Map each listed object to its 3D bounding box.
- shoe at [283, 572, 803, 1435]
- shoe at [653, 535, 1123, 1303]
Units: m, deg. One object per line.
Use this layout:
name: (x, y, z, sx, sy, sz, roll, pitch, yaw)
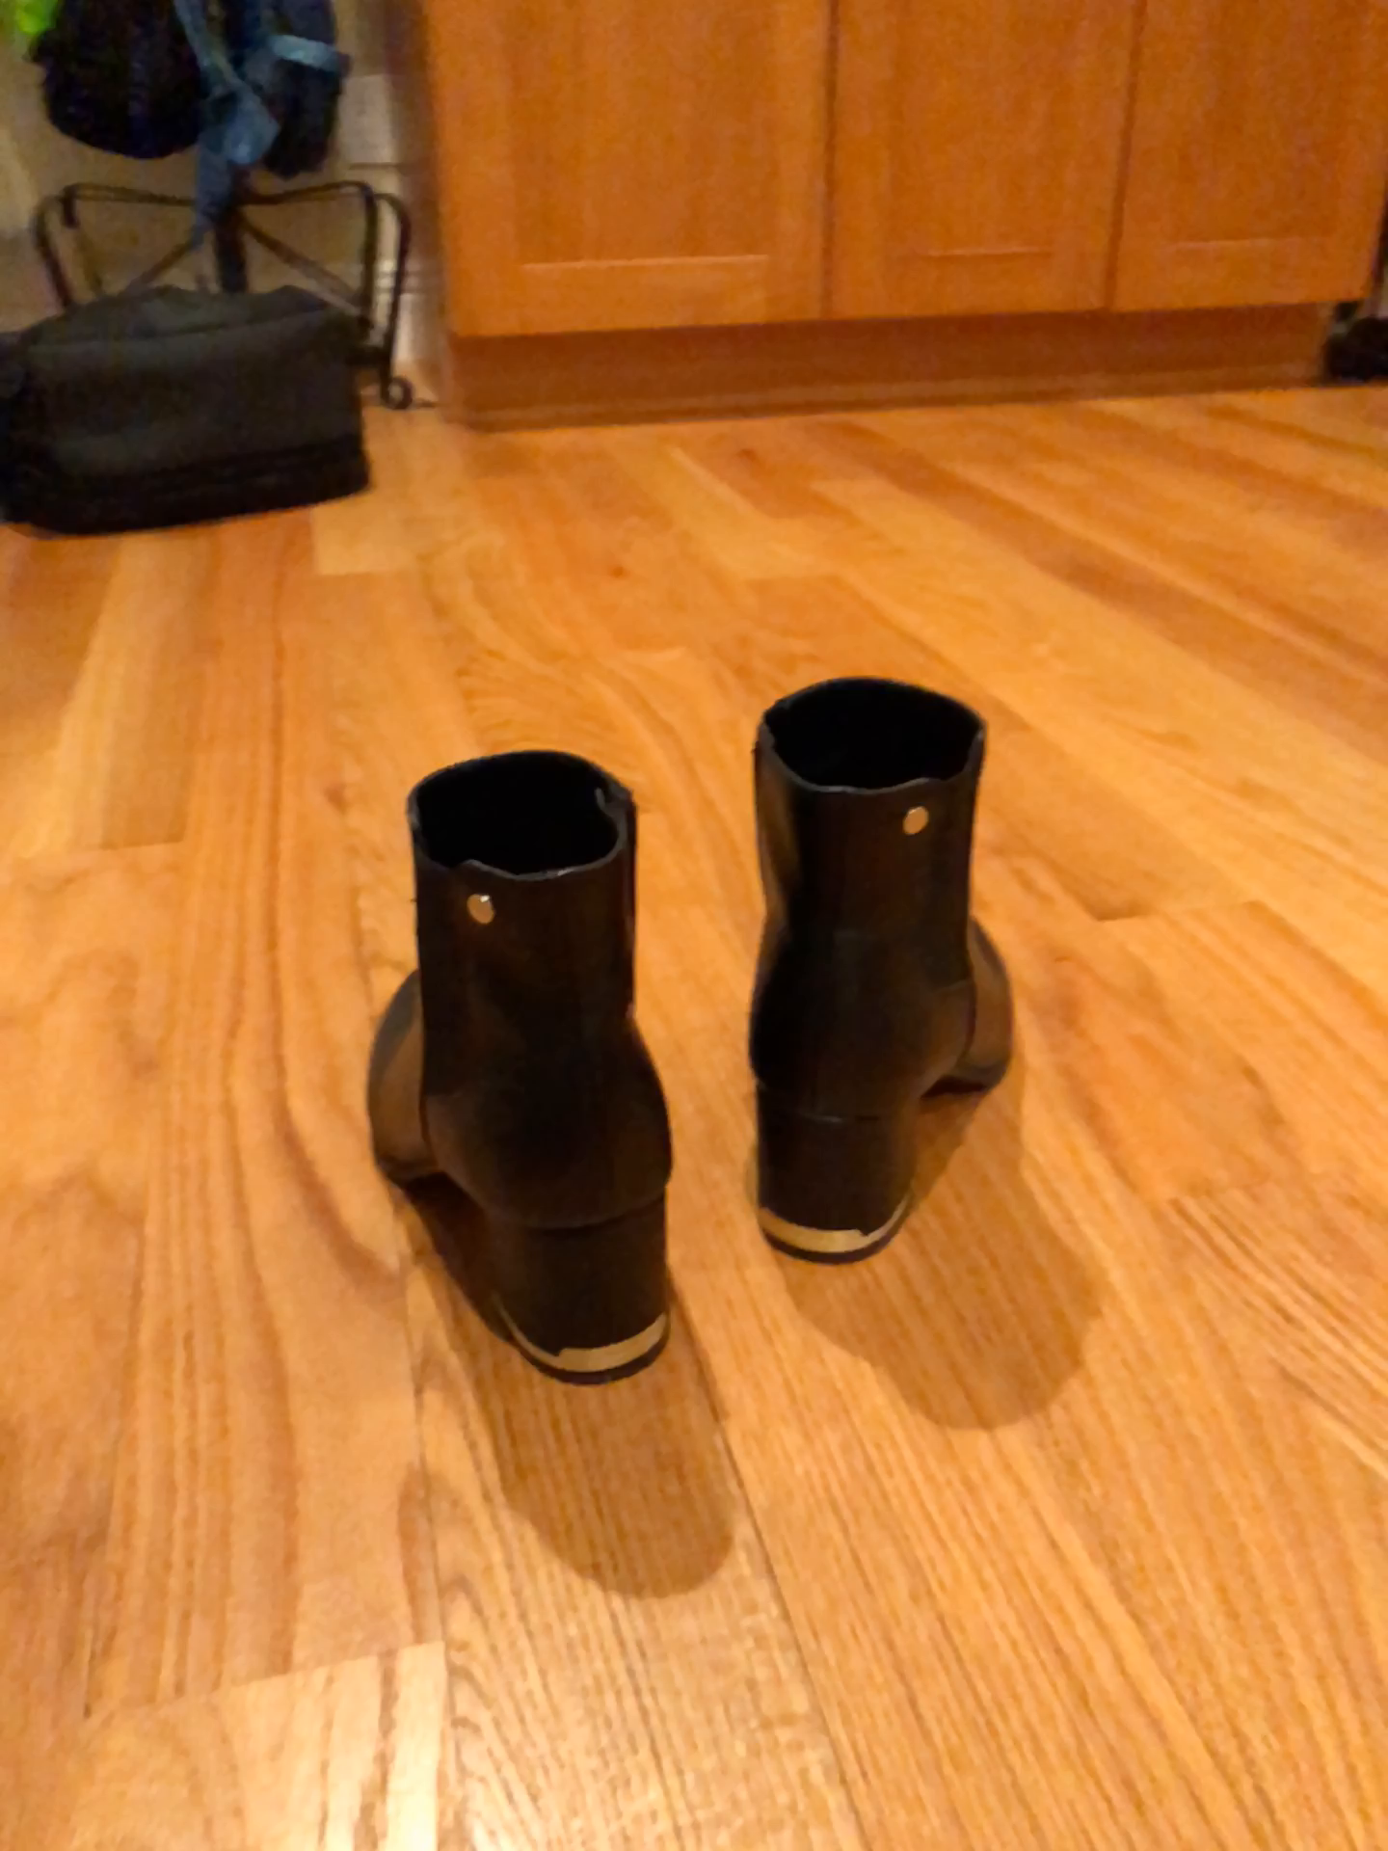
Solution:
shoe: (-0.058, 0.004, 0.497, 0.095, 0.175, 0.237, -10, 28, -18)
shoe: (0.077, -0.021, 0.542, 0.095, 0.175, 0.237, 9, 29, 19)
